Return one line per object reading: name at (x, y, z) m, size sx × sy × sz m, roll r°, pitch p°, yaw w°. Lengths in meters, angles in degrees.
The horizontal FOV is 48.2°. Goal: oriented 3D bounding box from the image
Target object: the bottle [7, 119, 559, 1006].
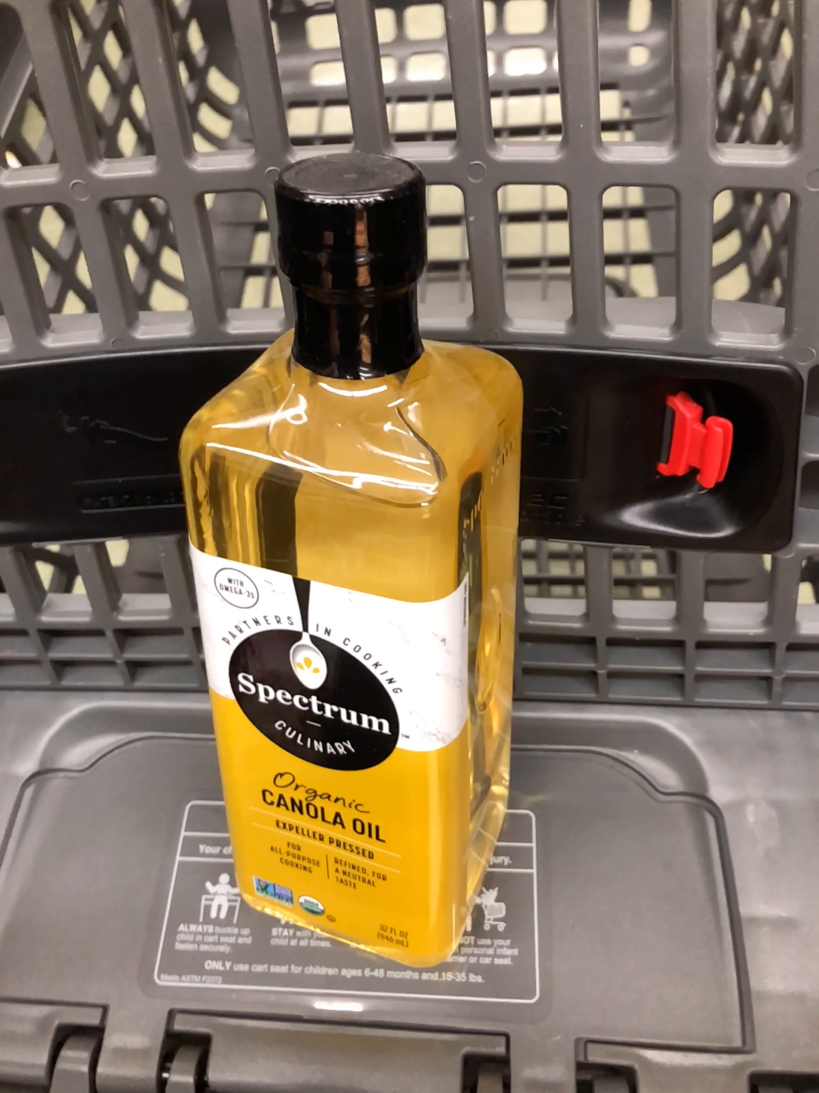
bottle at (-0.021, 0.018, 0.278) m, size 0.090 × 0.250 × 0.090 m, roll -1°, pitch 36°, yaw 1°
